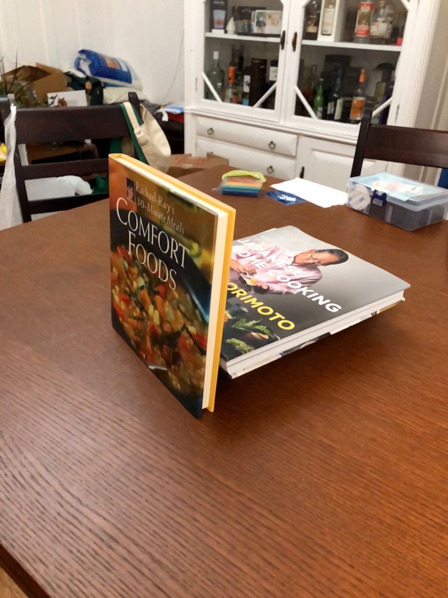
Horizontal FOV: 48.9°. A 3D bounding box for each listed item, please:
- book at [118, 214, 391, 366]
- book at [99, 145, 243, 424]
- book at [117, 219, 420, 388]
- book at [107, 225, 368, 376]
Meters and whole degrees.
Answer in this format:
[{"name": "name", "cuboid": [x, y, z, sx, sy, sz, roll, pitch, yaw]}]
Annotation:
[{"name": "book", "cuboid": [0.043, -0.034, 0.645, 0.281, 0.030, 0.221, -24, 39, -36]}, {"name": "book", "cuboid": [-0.065, -0.023, 0.497, 0.030, 0.209, 0.211, -15, 35, -32]}, {"name": "book", "cuboid": [0.052, -0.019, 0.589, 0.281, 0.030, 0.221, -20, 37, -32]}, {"name": "book", "cuboid": [0.023, -0.020, 0.675, 0.281, 0.030, 0.221, -26, 40, -38]}]
